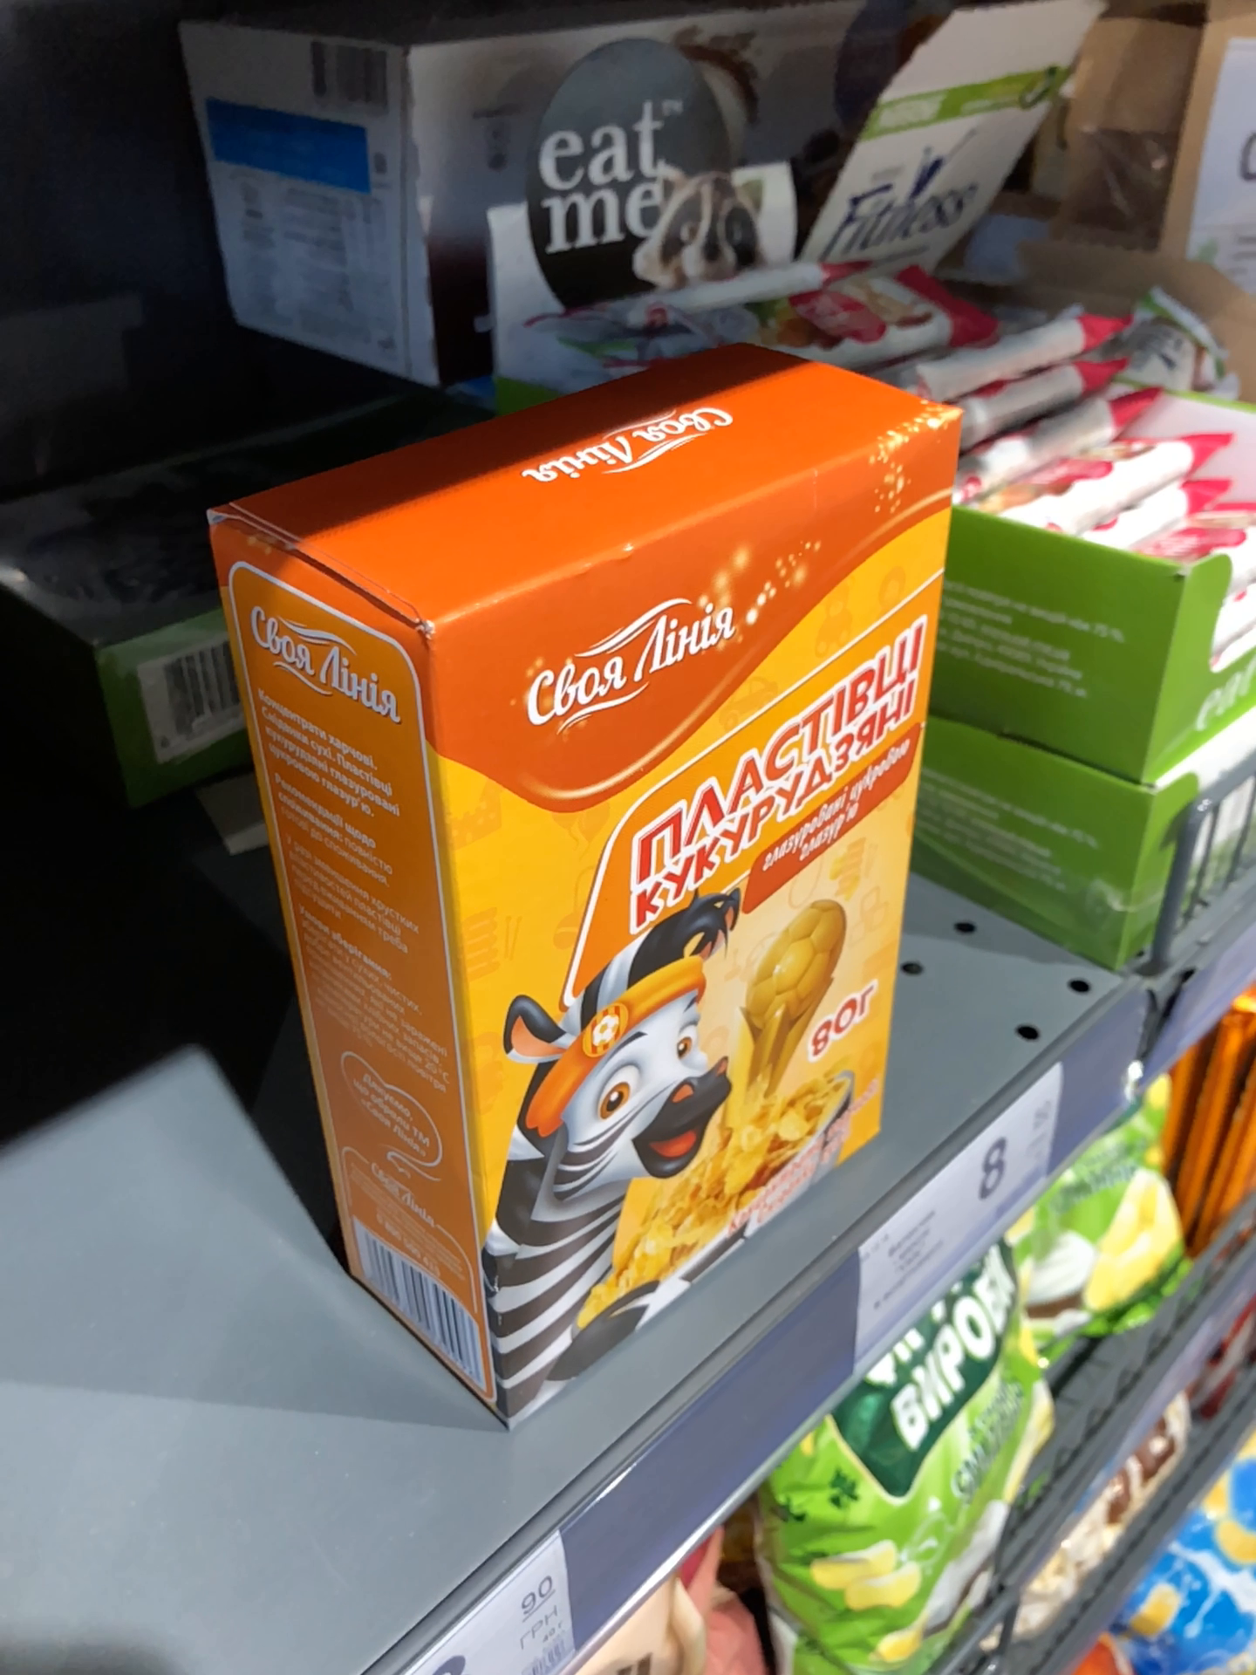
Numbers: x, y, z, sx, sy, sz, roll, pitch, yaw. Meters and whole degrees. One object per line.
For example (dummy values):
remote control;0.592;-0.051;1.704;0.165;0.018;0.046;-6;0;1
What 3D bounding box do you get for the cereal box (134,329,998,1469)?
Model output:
cereal box;-0.003;0.009;0.246;0.121;0.159;0.050;-29;44;-34
